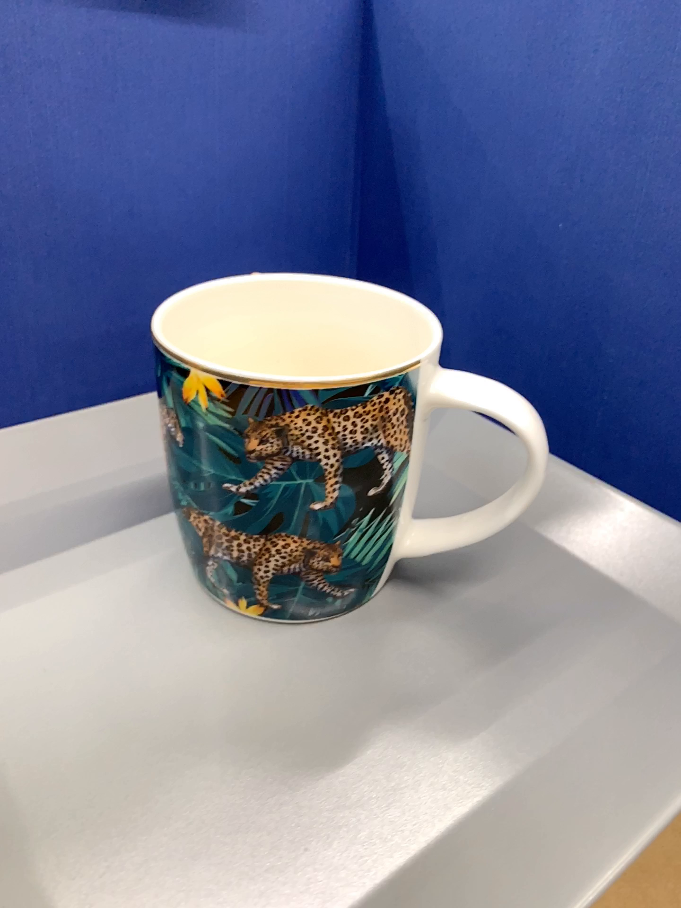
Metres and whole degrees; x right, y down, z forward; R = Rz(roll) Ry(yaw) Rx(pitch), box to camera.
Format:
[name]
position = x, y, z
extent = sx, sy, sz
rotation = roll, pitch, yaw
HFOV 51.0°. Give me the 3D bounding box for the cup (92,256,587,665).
[cup]
position = 0.002, -0.006, 0.241
extent = 0.125, 0.091, 0.093
rotation = 7, 28, 6
